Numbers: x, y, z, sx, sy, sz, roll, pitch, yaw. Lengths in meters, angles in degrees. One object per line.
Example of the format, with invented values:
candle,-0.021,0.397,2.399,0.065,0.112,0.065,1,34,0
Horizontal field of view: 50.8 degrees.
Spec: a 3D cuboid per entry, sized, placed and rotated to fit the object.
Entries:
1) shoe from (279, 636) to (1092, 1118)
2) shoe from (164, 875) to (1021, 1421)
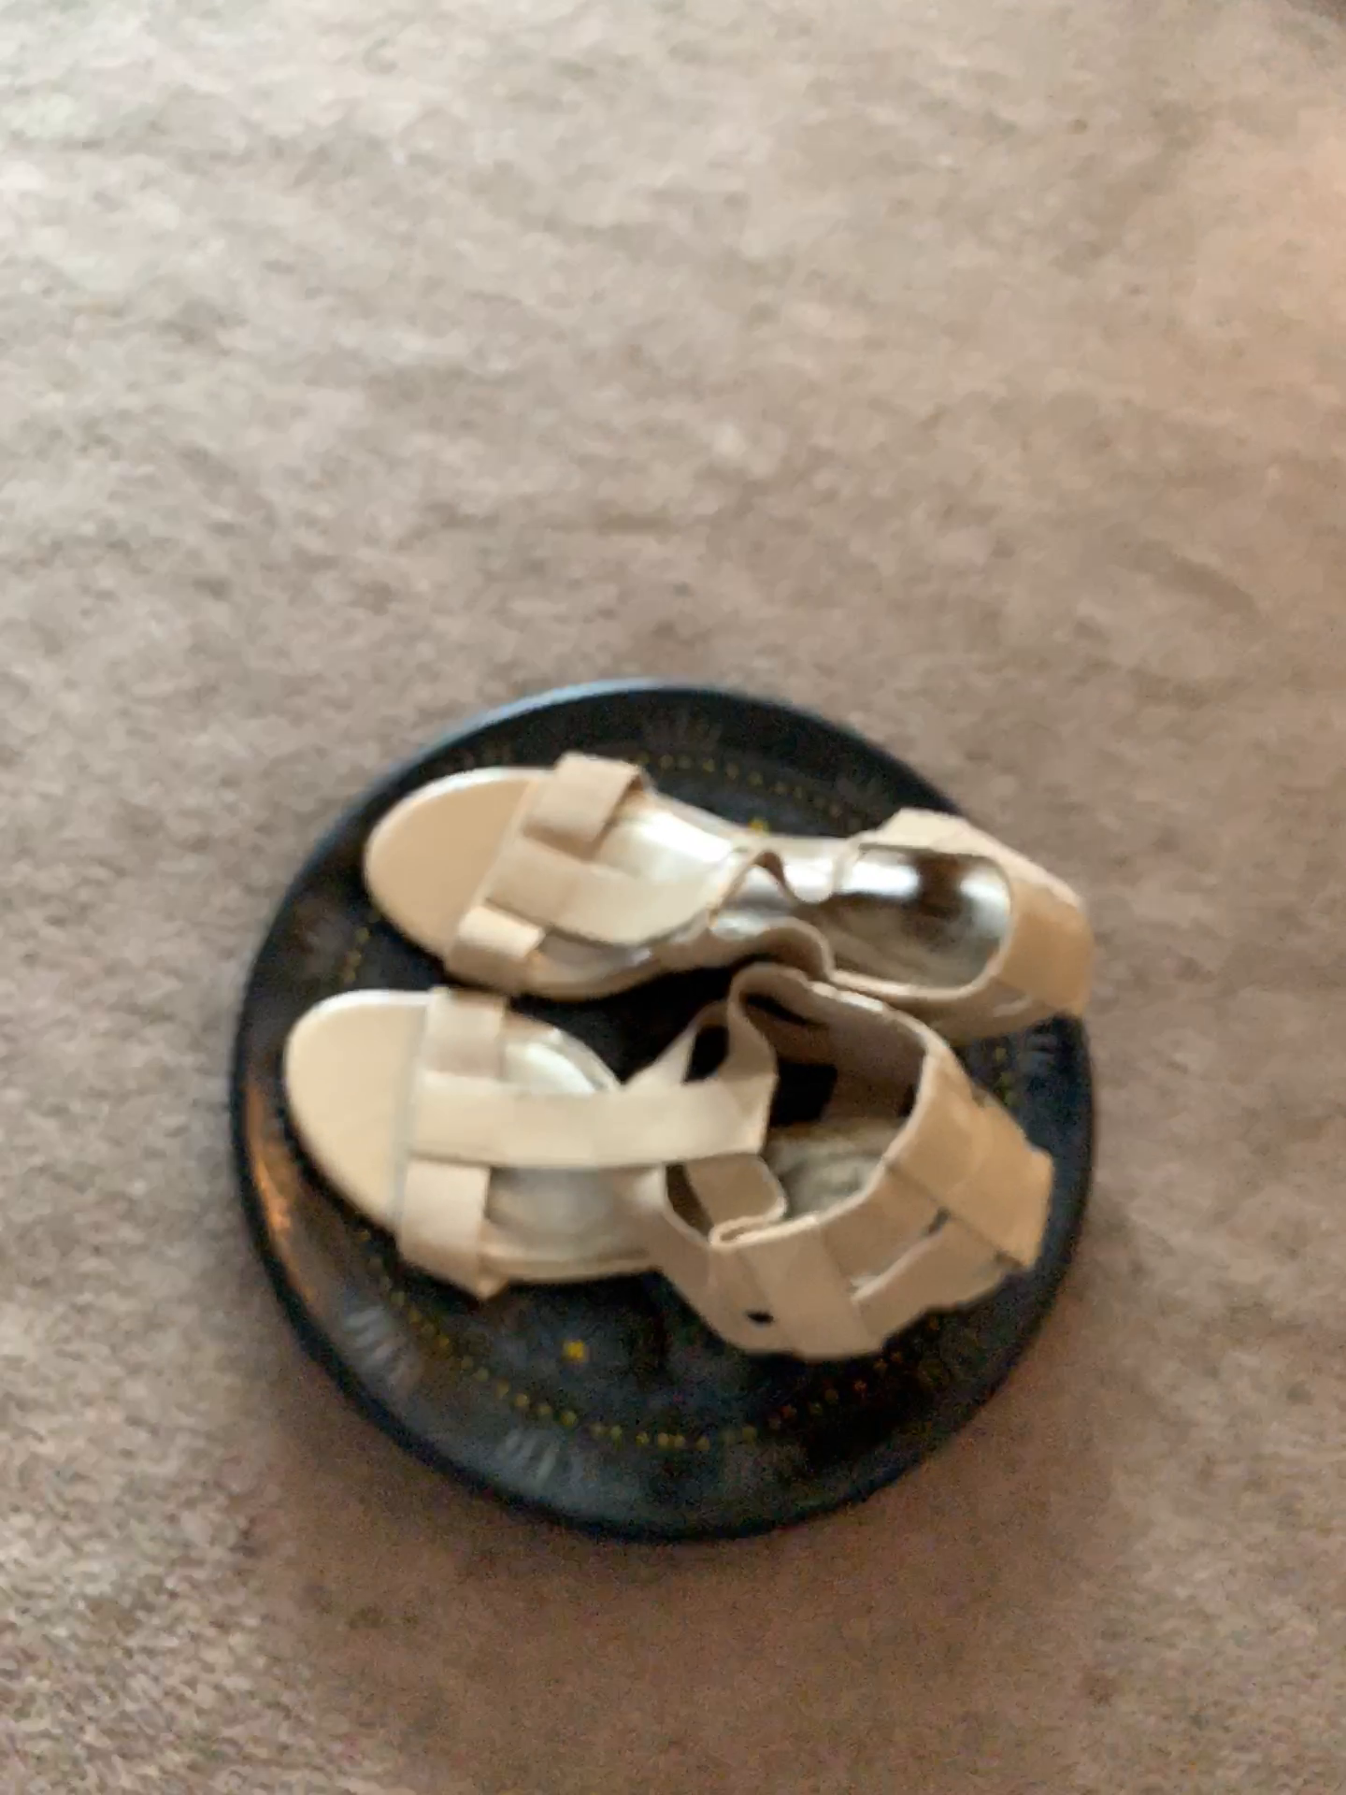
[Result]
shoe,0.008,-0.006,0.466,0.230,0.090,0.100,10,75,12
shoe,-0.019,0.075,0.427,0.220,0.090,0.090,12,67,13
